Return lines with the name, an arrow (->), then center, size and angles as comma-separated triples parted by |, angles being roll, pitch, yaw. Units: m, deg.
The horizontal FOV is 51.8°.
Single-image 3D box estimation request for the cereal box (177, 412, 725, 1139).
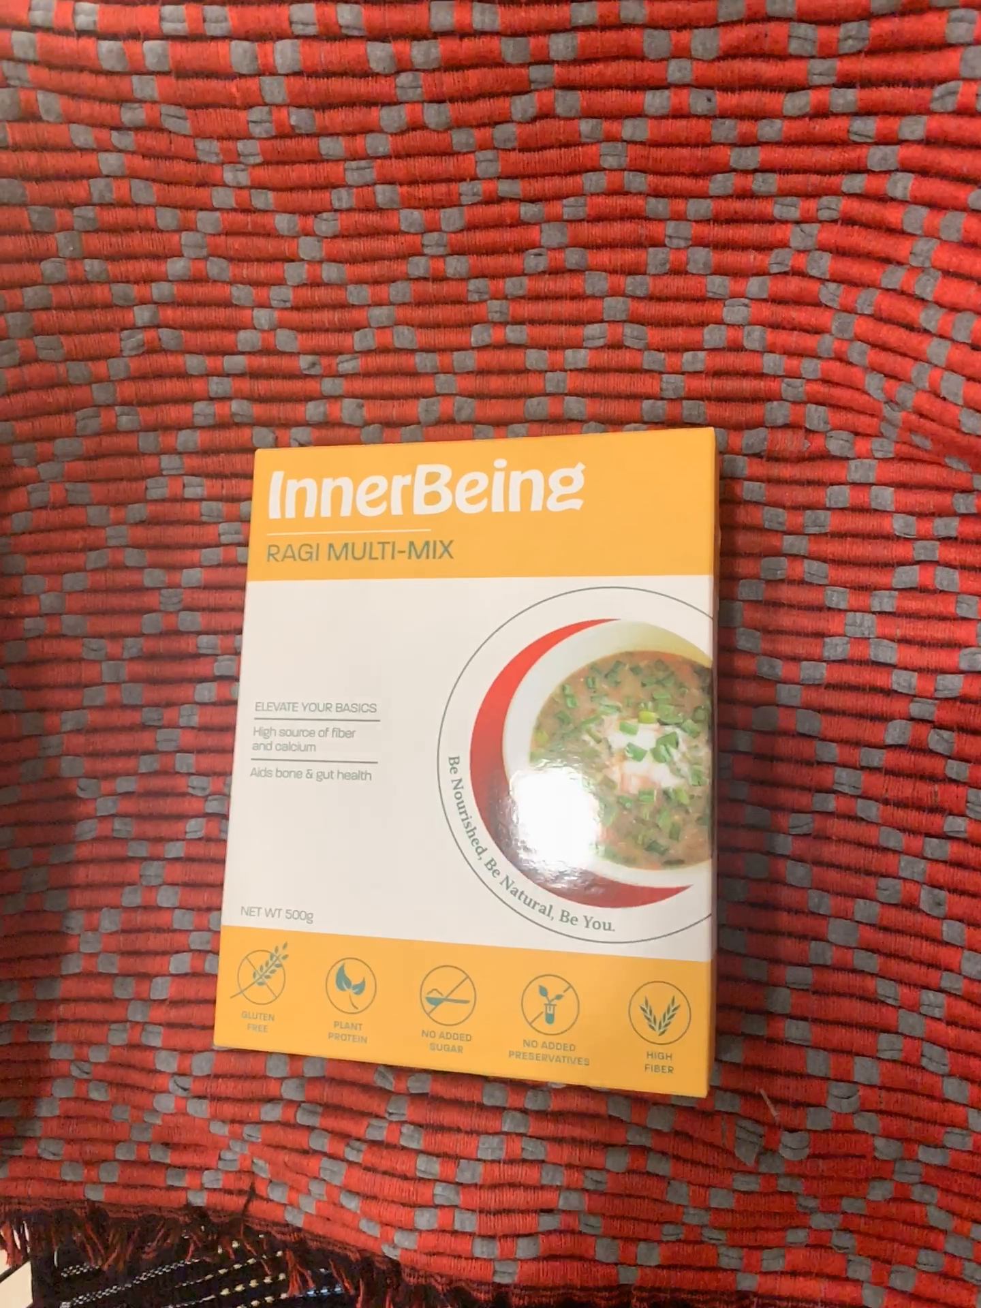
cereal box -> -0.005, 0.032, 0.318 | 0.150, 0.070, 0.190 | 0, 82, 14
